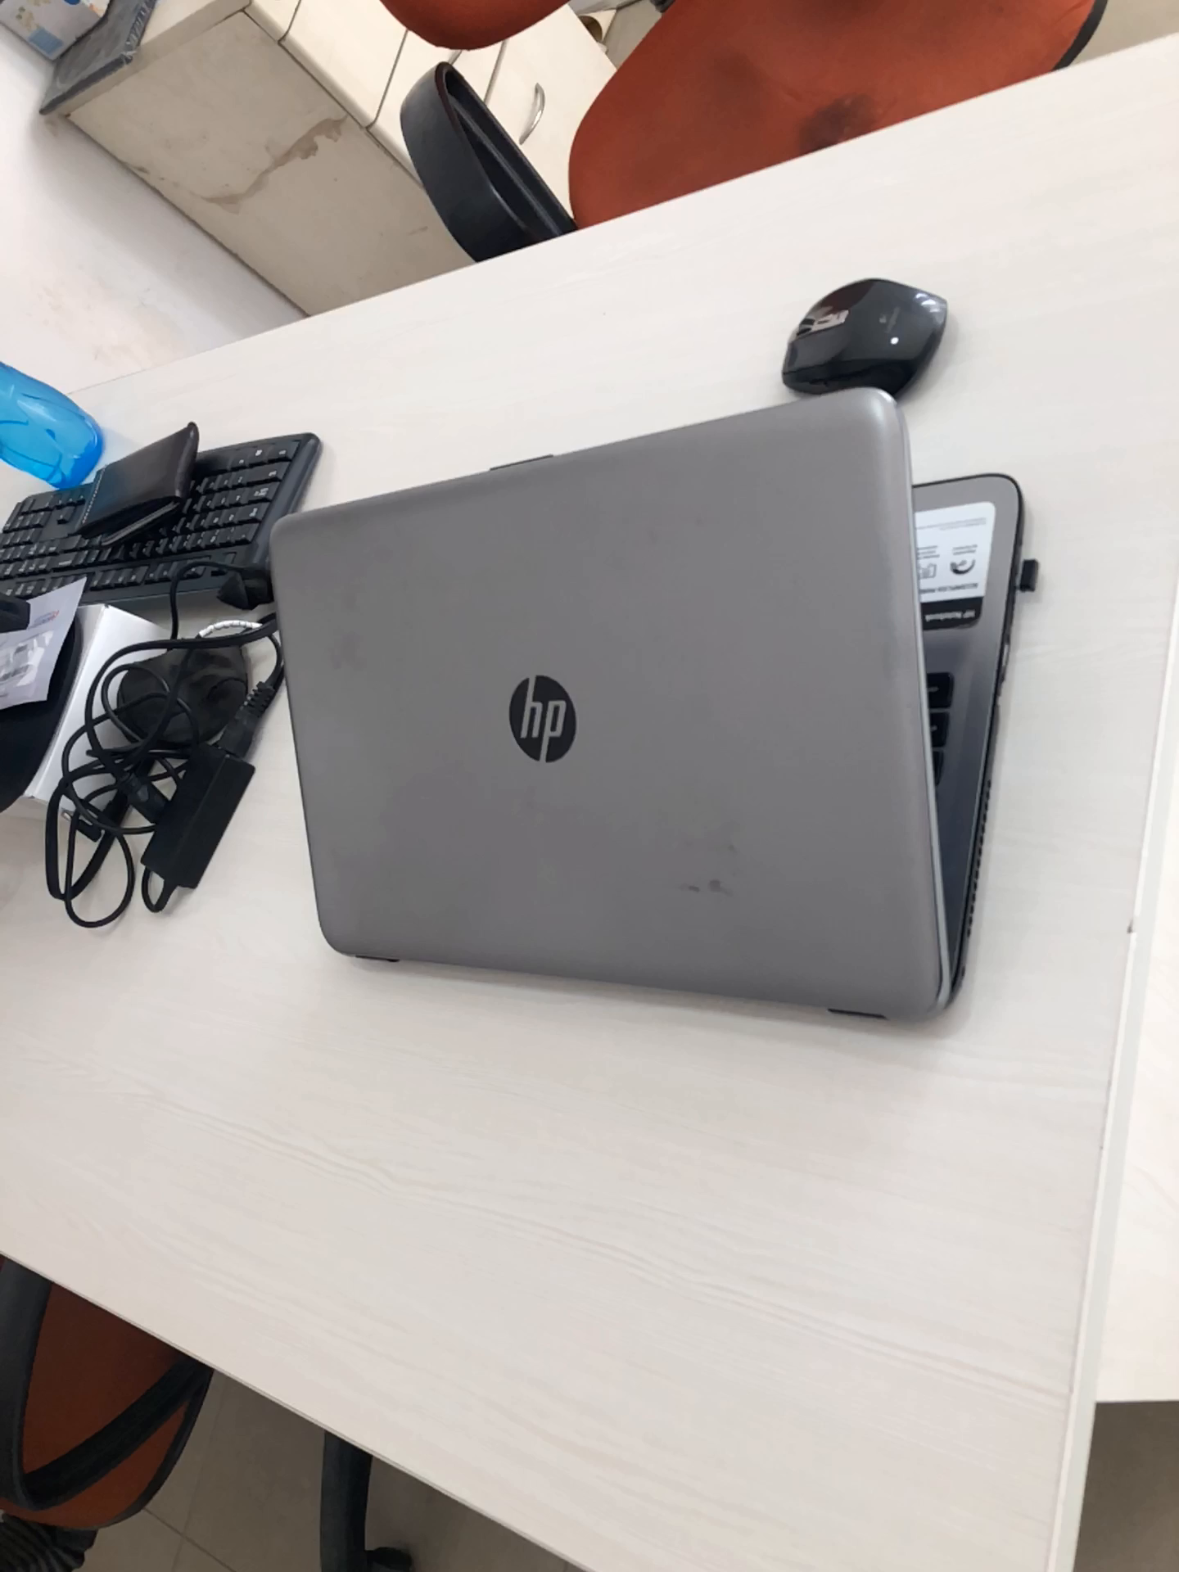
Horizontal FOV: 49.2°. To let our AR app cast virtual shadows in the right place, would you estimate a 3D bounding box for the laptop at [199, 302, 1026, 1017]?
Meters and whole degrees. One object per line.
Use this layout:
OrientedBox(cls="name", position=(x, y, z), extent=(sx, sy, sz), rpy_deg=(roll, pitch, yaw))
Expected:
OrientedBox(cls="laptop", position=(-0.002, -0.046, 0.625), extent=(0.370, 0.120, 0.251), rpy_deg=(-1, 70, 40))
